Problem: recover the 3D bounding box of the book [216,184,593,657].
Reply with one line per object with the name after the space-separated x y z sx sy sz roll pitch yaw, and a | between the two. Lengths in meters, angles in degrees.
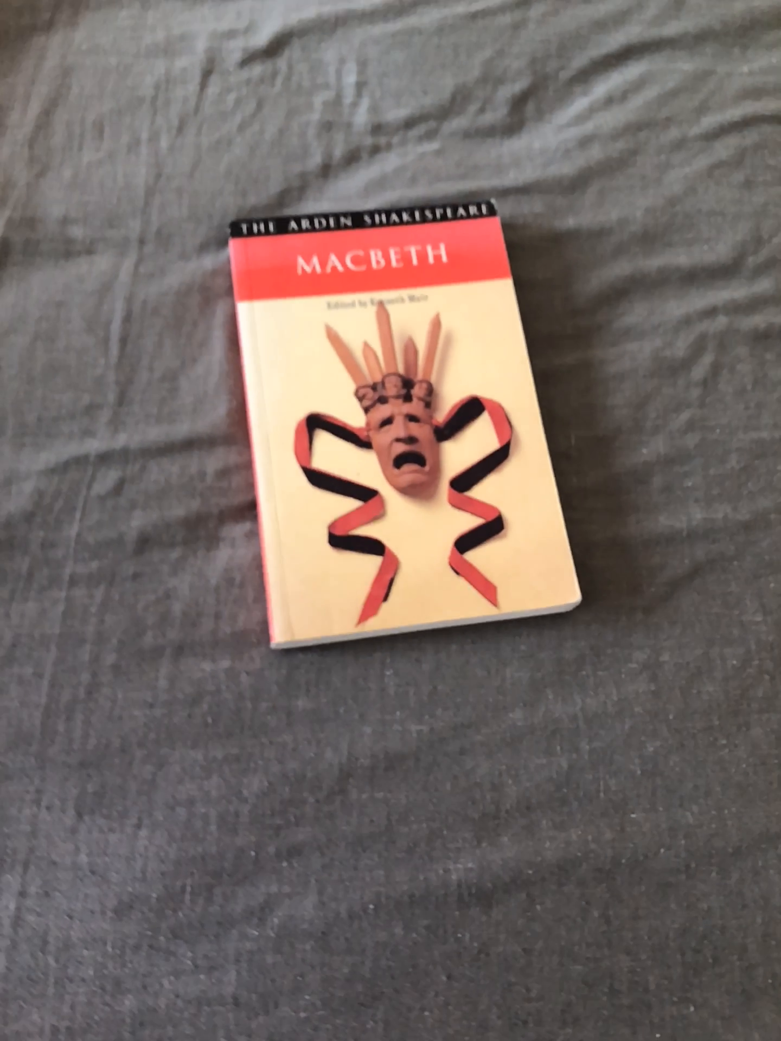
0.000 -0.051 0.374 0.130 0.020 0.200 -7 71 -5 | book
